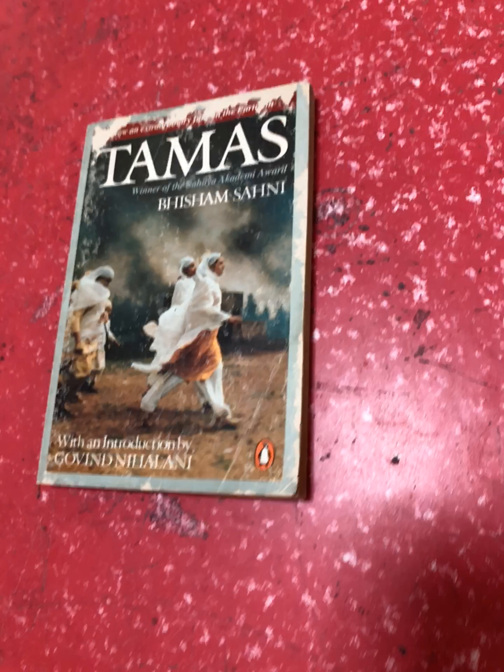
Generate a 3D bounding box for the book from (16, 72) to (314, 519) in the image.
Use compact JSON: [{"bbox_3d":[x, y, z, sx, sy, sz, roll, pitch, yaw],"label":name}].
[{"bbox_3d":[-0.038,-0.022,0.270,0.130,0.020,0.200,-3,73,20],"label":"book"}]
